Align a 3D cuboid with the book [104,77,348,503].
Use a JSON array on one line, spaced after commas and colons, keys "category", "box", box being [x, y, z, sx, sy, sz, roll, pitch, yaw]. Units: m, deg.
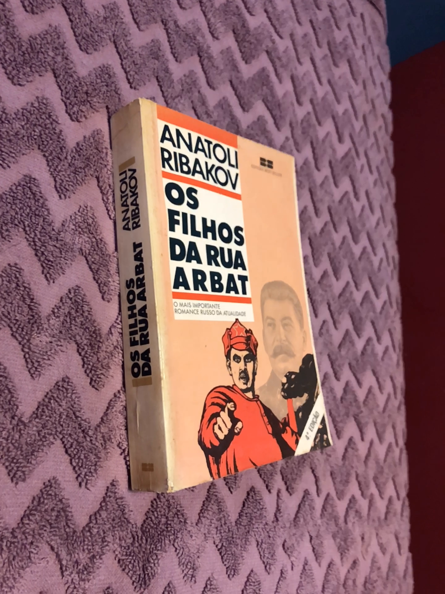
[{"category": "book", "box": [0.009, -0.003, 0.284, 0.141, 0.040, 0.190, 3, 80, -47]}]
